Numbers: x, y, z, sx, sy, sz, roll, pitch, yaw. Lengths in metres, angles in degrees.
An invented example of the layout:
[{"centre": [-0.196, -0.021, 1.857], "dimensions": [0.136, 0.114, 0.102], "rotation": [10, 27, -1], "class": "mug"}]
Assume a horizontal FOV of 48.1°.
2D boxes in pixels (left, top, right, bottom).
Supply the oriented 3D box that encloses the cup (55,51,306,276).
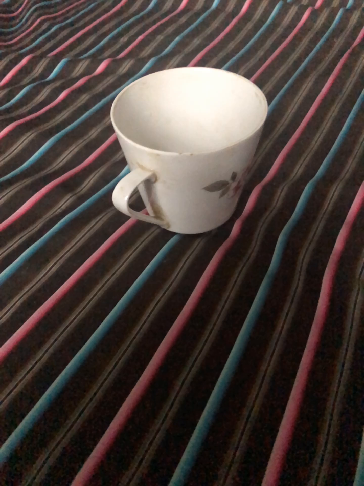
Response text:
[{"centre": [0.001, -0.046, 0.210], "dimensions": [0.073, 0.049, 0.094], "rotation": [35, 59, 25], "class": "cup"}]
